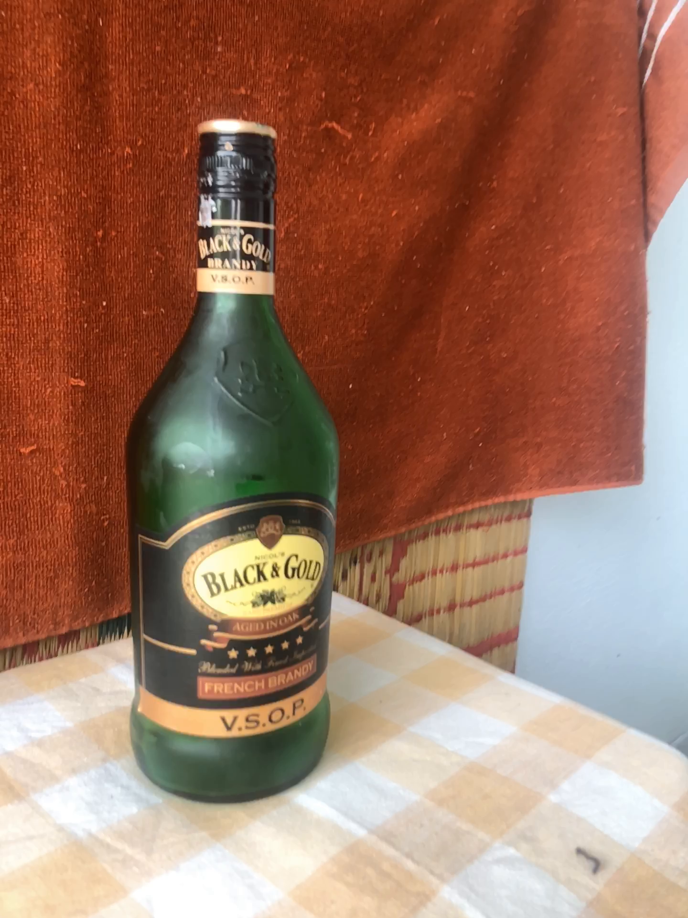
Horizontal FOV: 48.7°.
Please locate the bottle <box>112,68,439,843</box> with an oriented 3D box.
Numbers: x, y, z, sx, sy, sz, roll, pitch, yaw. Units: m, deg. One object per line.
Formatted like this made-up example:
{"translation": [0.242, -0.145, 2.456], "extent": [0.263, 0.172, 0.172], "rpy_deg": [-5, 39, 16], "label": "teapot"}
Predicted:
{"translation": [-0.036, 0.002, 0.305], "extent": [0.090, 0.259, 0.080], "rpy_deg": [-1, 13, -29], "label": "bottle"}
